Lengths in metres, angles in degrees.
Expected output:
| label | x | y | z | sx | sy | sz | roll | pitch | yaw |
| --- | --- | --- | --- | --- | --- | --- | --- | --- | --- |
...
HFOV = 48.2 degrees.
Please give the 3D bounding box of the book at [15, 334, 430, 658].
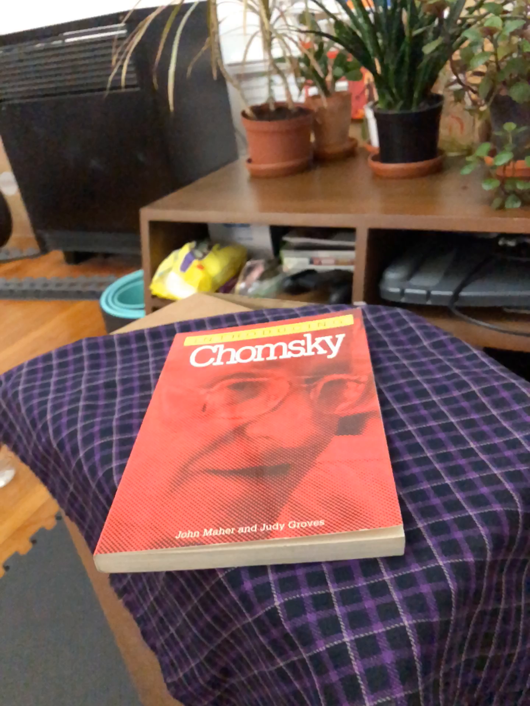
| label | x | y | z | sx | sy | sz | roll | pitch | yaw |
| --- | --- | --- | --- | --- | --- | --- | --- | --- | --- |
| book | -0.015 | 0.062 | 0.362 | 0.180 | 0.020 | 0.241 | -6 | 29 | 6 |
